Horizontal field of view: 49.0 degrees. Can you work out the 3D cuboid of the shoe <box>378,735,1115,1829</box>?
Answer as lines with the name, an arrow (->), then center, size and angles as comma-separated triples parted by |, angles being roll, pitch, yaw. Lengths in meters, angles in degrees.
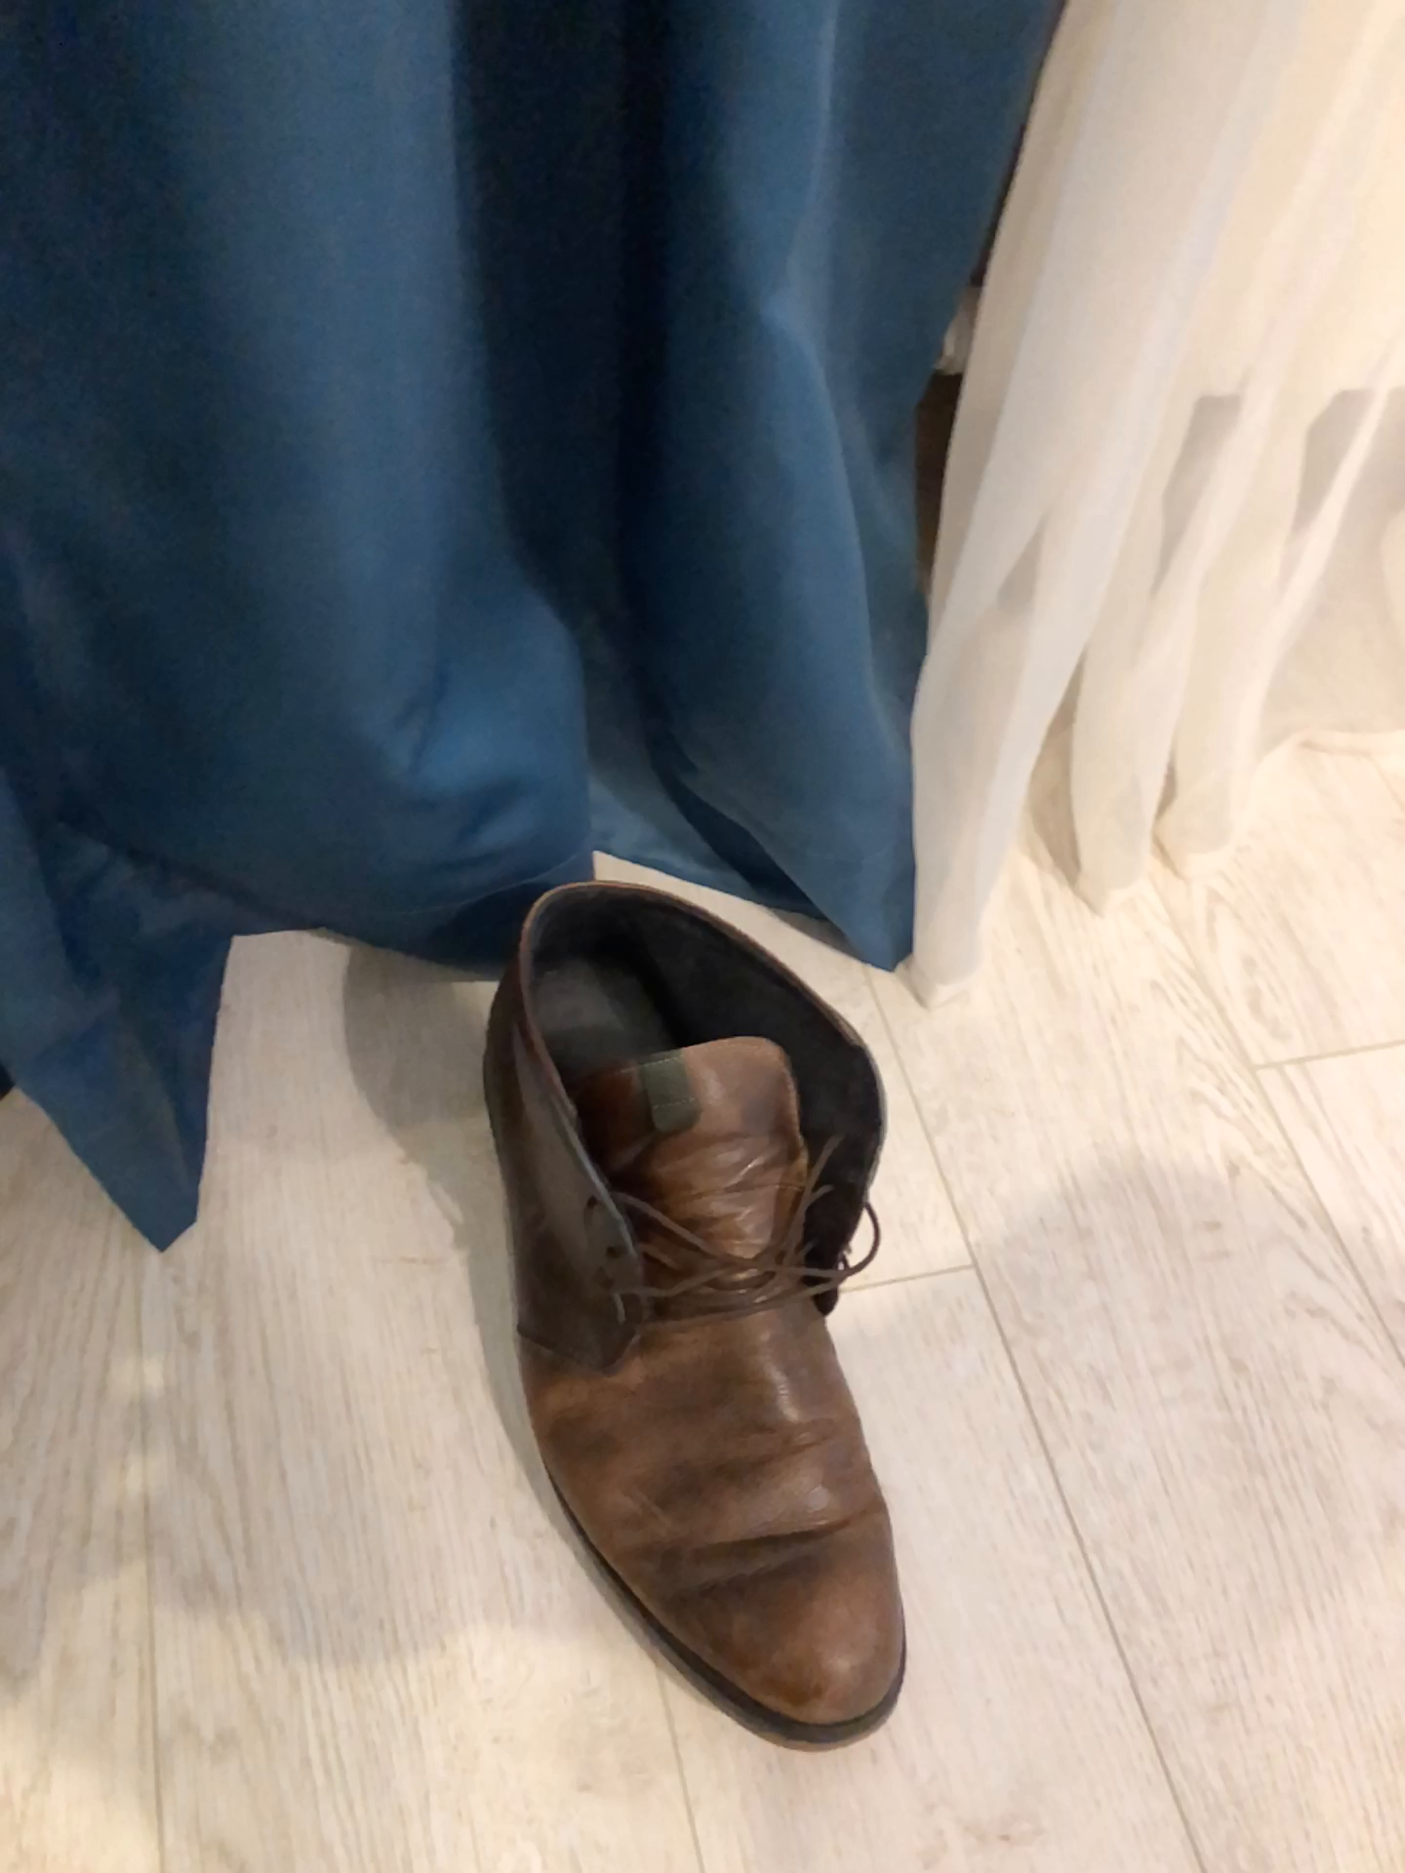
shoe -> -0.012, 0.108, 0.549 | 0.130, 0.159, 0.321 | -12, 56, -17
